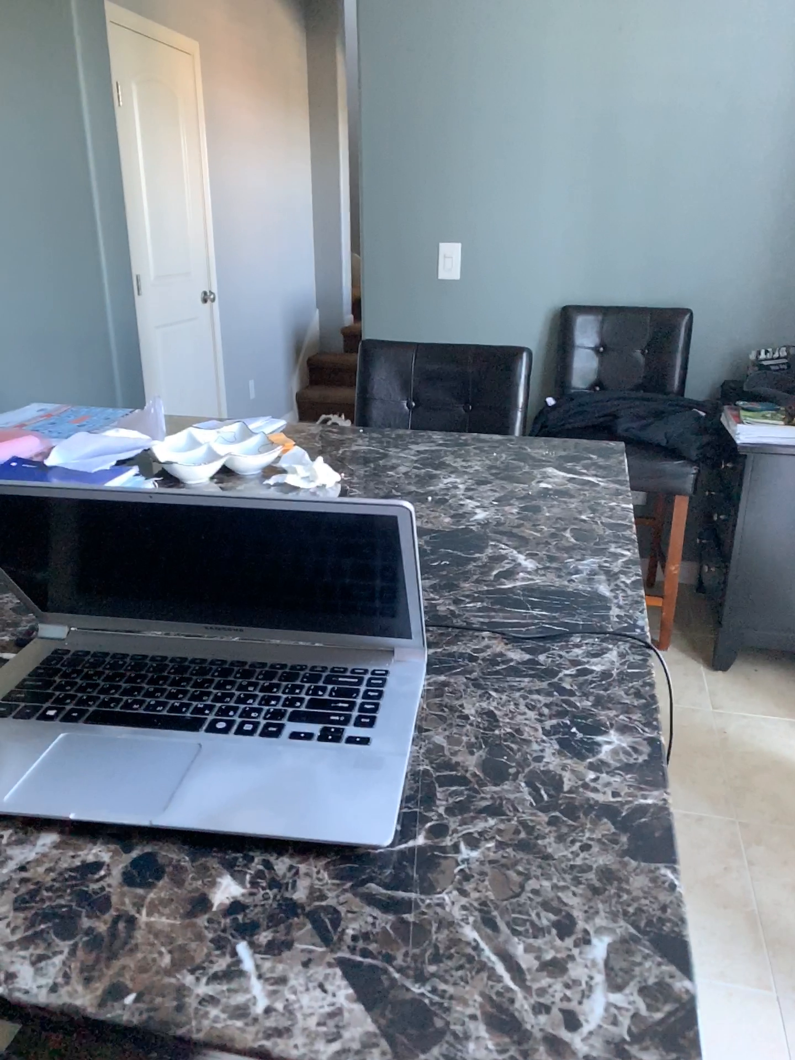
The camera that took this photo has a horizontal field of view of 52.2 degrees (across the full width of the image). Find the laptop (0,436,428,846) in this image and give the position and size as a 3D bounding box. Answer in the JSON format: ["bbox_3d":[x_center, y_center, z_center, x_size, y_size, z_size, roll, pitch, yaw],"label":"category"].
[{"bbox_3d":[-0.169,0.057,0.600,0.361,0.188,0.235,3,20,7],"label":"laptop"}]
